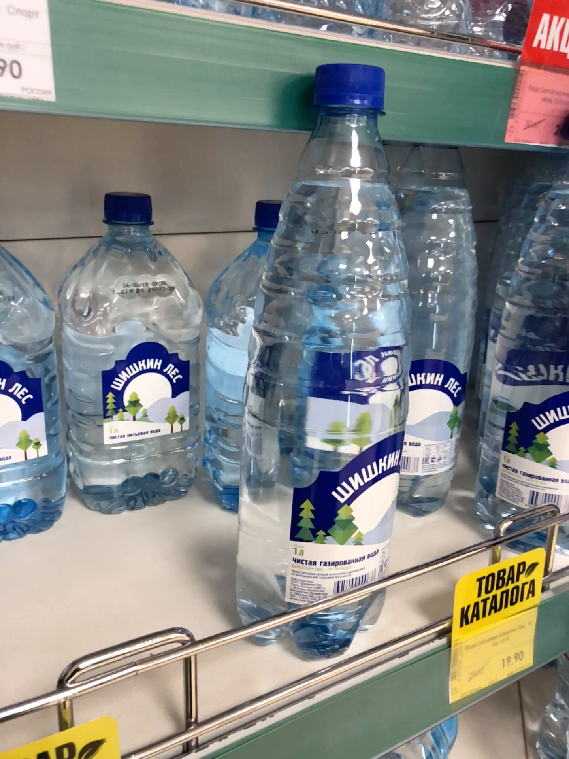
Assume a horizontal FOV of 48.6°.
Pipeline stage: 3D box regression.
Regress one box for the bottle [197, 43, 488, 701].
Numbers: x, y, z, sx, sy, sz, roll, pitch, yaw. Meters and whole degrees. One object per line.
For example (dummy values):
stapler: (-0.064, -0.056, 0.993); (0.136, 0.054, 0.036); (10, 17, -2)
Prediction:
bottle: (0.020, 0.000, 0.304); (0.090, 0.273, 0.080); (-12, 23, -35)
